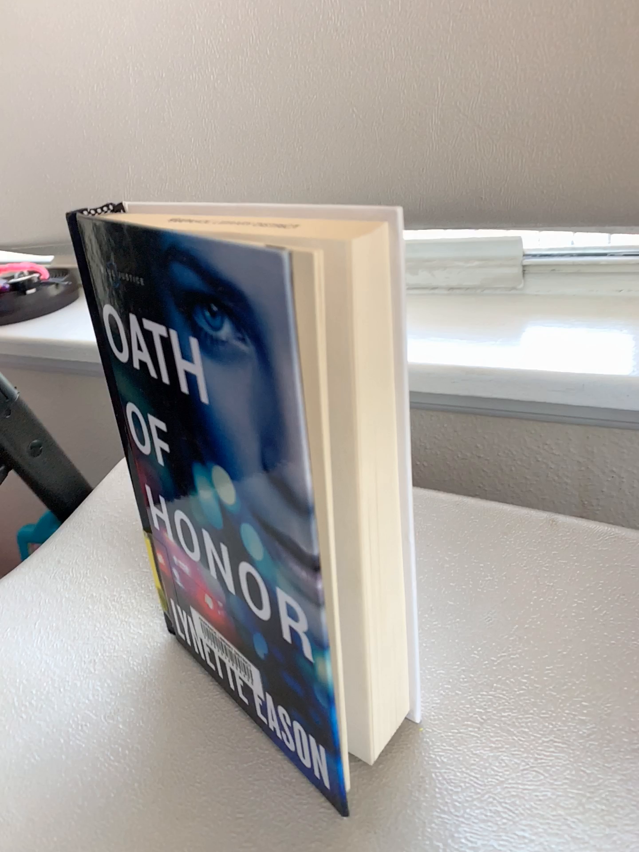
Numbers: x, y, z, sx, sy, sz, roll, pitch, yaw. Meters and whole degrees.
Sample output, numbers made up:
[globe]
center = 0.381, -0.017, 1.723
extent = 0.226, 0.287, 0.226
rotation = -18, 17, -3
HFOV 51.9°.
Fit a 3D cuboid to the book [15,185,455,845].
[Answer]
[book]
center = -0.030, 0.023, 0.263
extent = 0.155, 0.217, 0.063
rotation = 17, 33, 41
